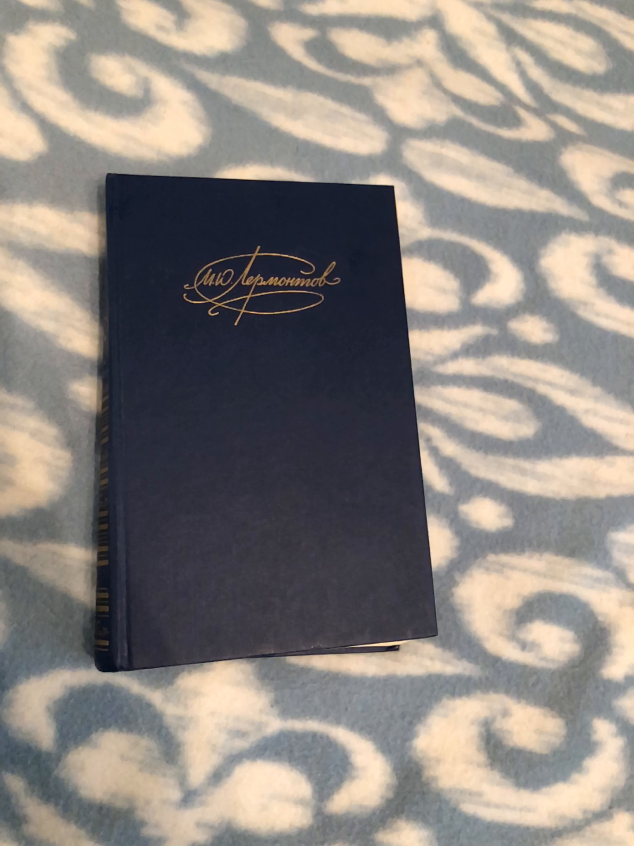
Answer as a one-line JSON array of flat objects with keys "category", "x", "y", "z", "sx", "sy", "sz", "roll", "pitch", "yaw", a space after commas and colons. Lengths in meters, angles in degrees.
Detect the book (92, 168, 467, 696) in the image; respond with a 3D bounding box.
[{"category": "book", "x": -0.020, "y": -0.001, "z": 0.296, "sx": 0.138, "sy": 0.040, "sz": 0.200, "roll": -1, "pitch": 78, "yaw": -12}]
